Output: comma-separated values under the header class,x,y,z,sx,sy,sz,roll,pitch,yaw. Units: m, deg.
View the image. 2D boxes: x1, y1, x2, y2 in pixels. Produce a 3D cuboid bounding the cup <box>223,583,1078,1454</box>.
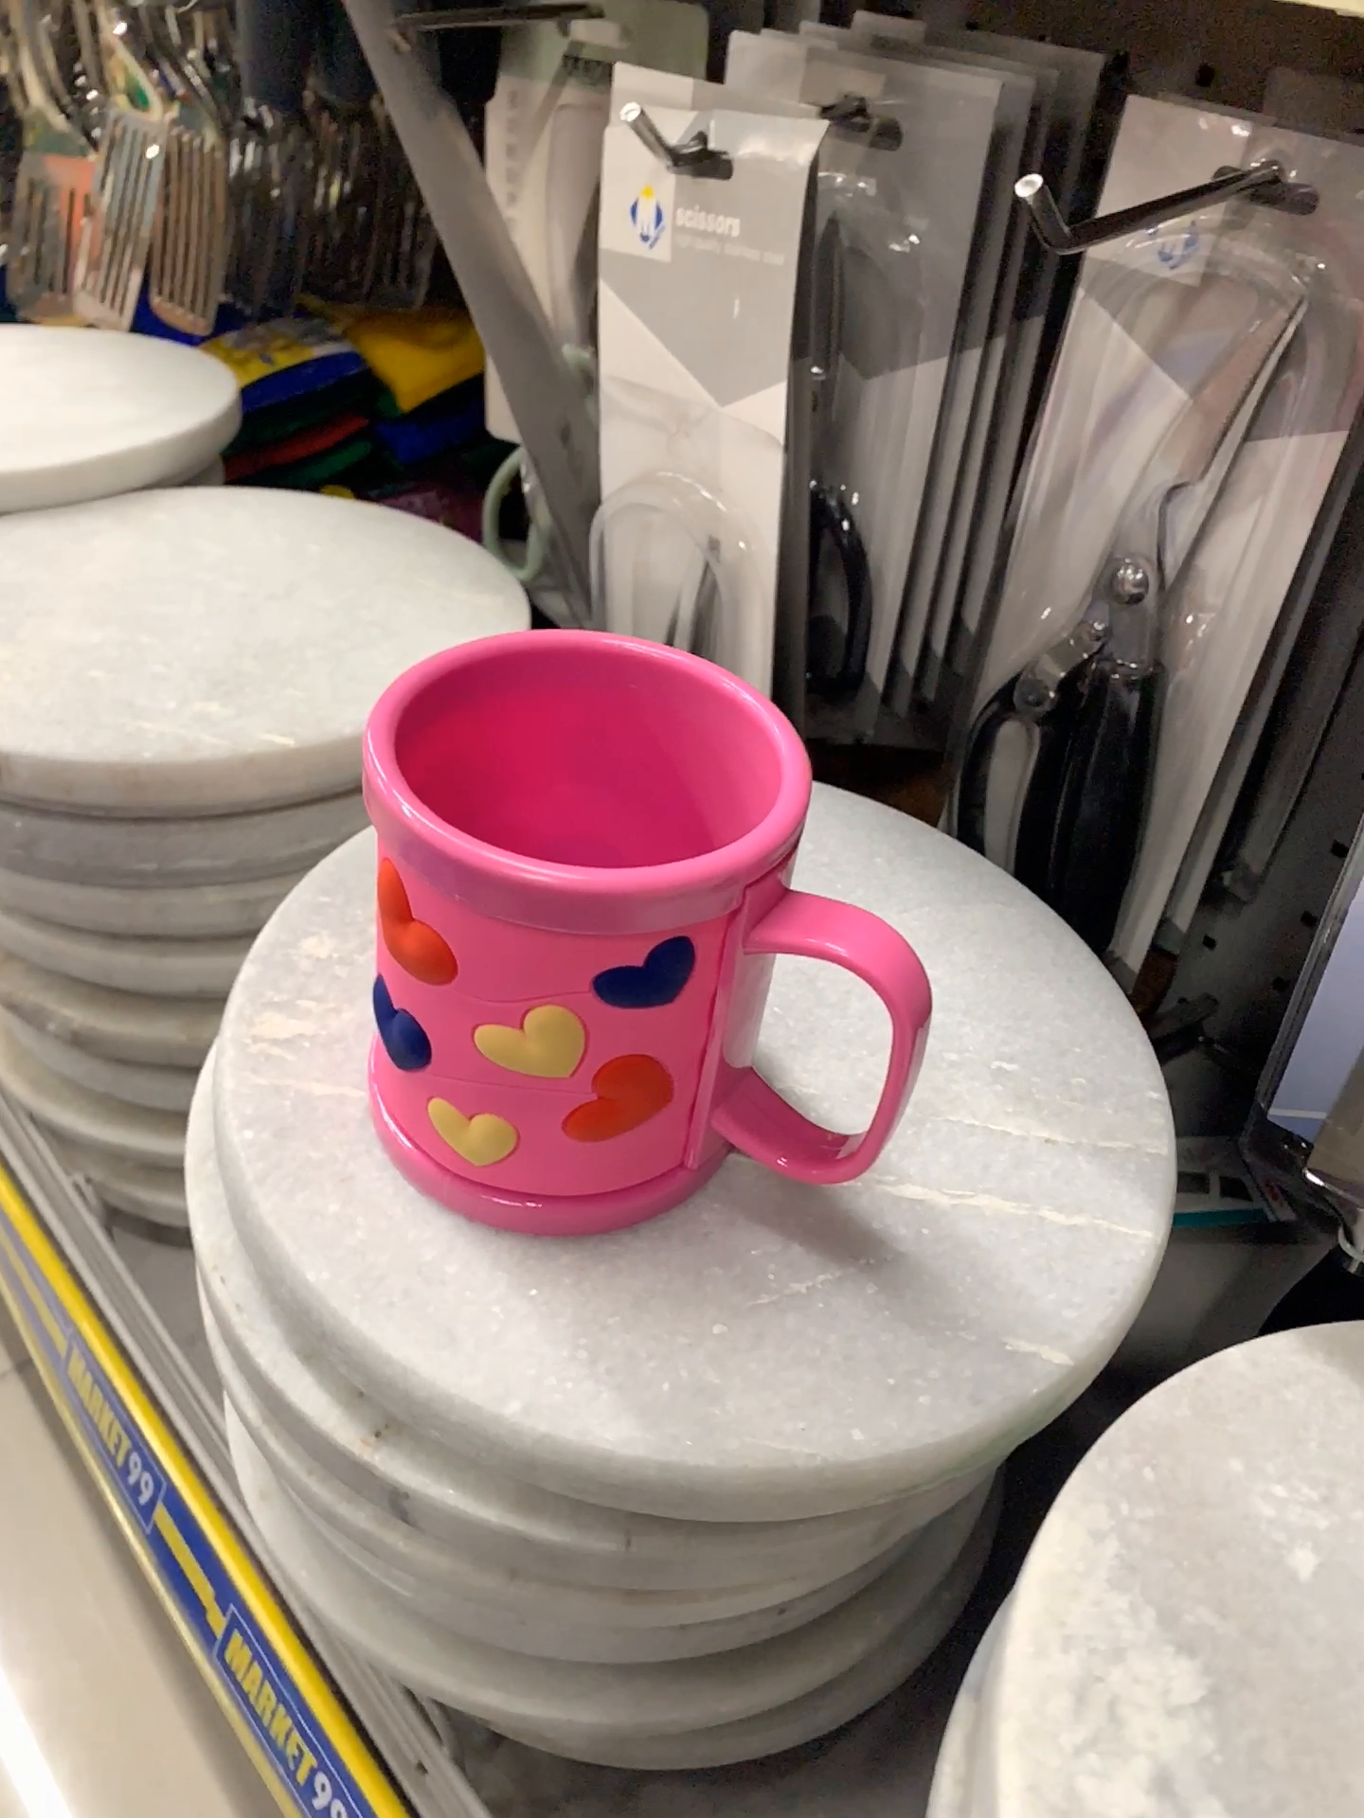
class,x,y,z,sx,sy,sz,roll,pitch,yaw
cup,-0.007,0.014,0.267,0.120,0.100,0.080,23,40,22
